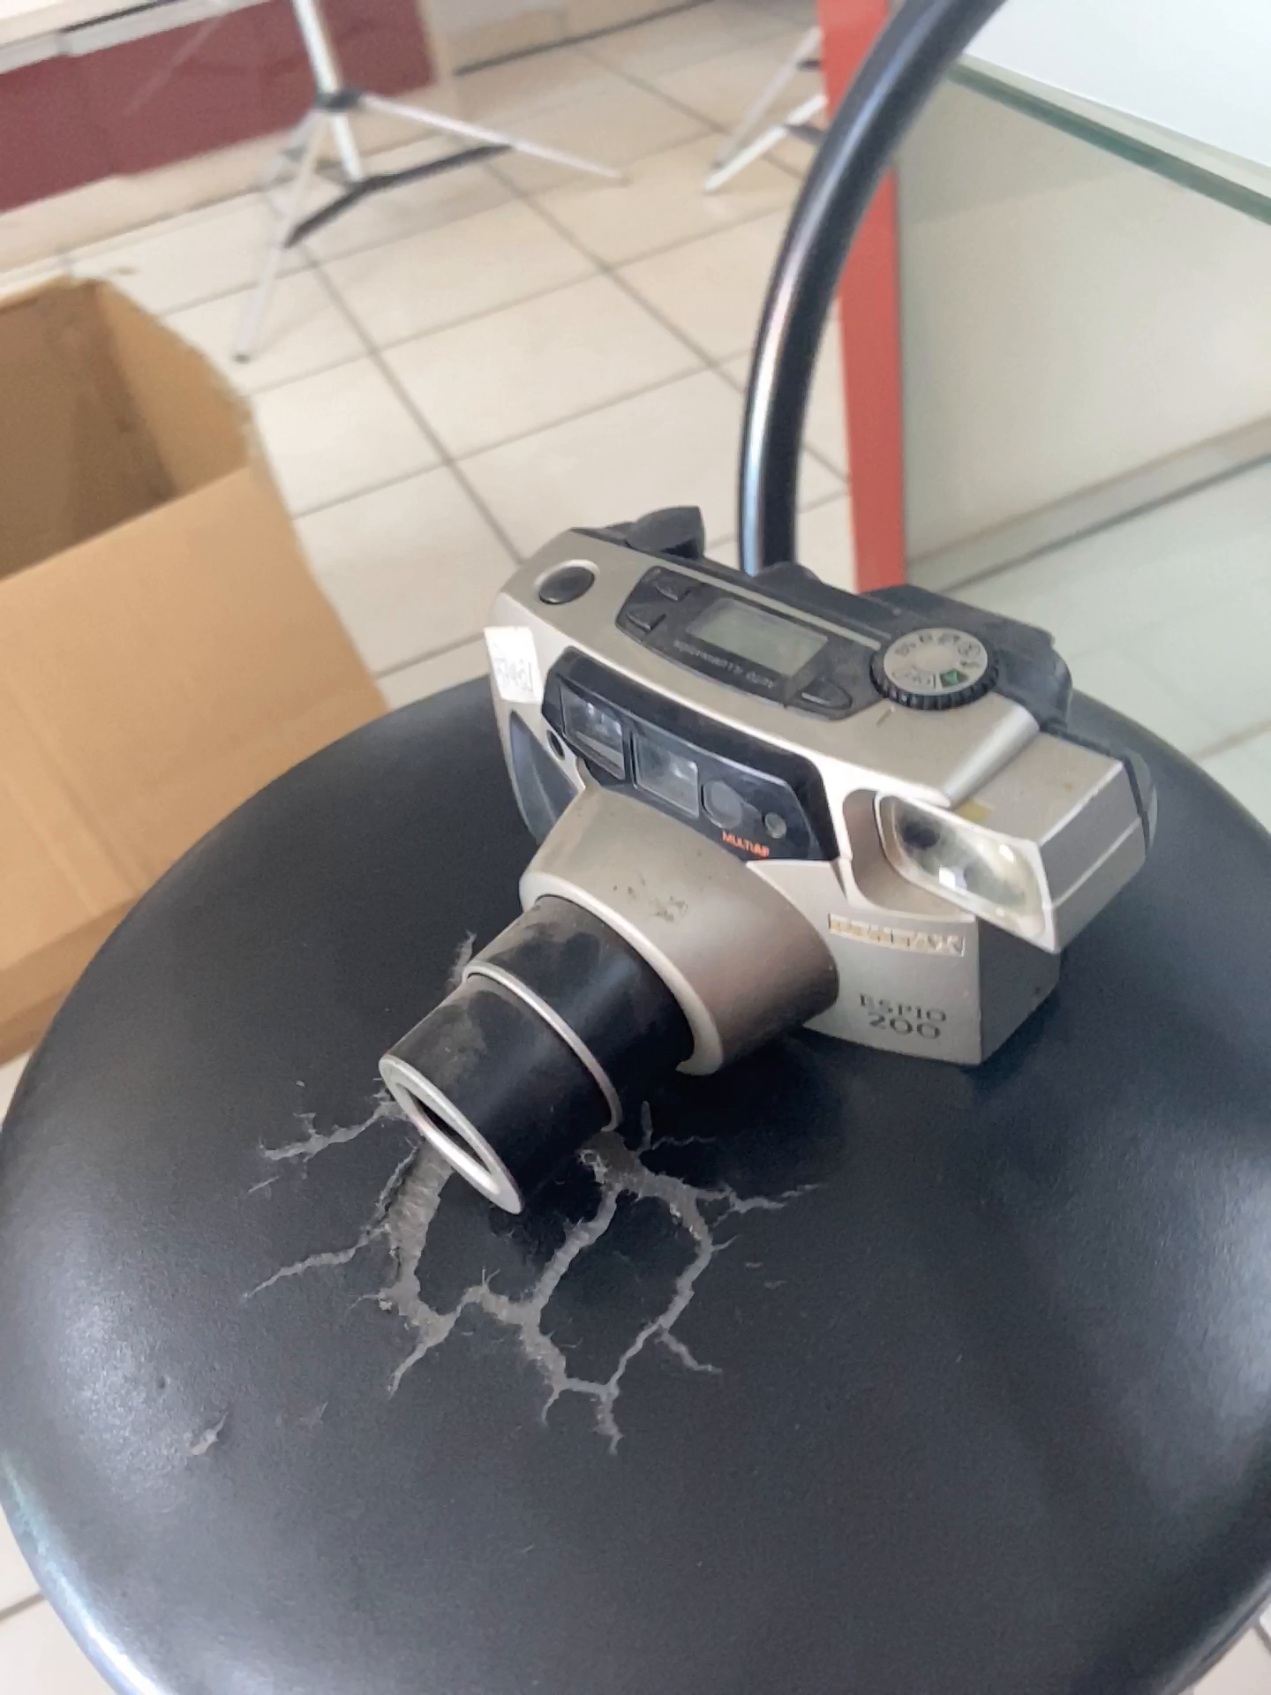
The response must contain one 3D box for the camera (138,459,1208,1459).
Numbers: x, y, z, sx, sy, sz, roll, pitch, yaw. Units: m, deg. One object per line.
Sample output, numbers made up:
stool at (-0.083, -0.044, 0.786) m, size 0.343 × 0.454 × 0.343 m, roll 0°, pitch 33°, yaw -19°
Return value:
camera at (0.010, 0.007, 0.244) m, size 0.130 × 0.080 × 0.120 m, roll 26°, pitch 57°, yaw 33°
